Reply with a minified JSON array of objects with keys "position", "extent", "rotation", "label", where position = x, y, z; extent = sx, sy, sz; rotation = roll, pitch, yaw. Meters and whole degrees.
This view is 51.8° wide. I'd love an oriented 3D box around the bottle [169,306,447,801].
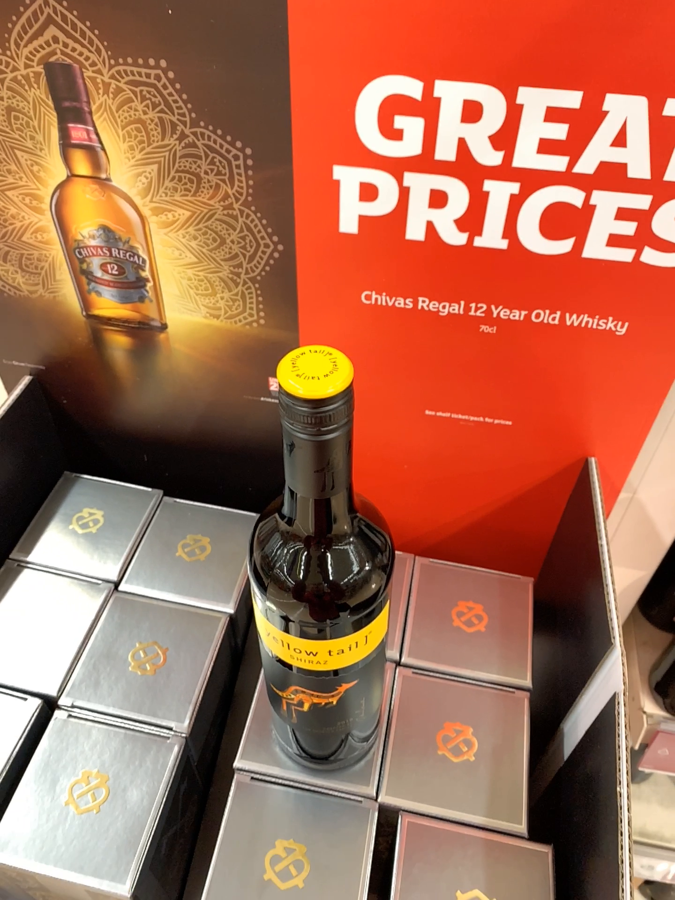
[{"position":[-0.008,0.082,0.357],"extent":[0.086,0.307,0.082],"rotation":[1,47,-1],"label":"bottle"}]
